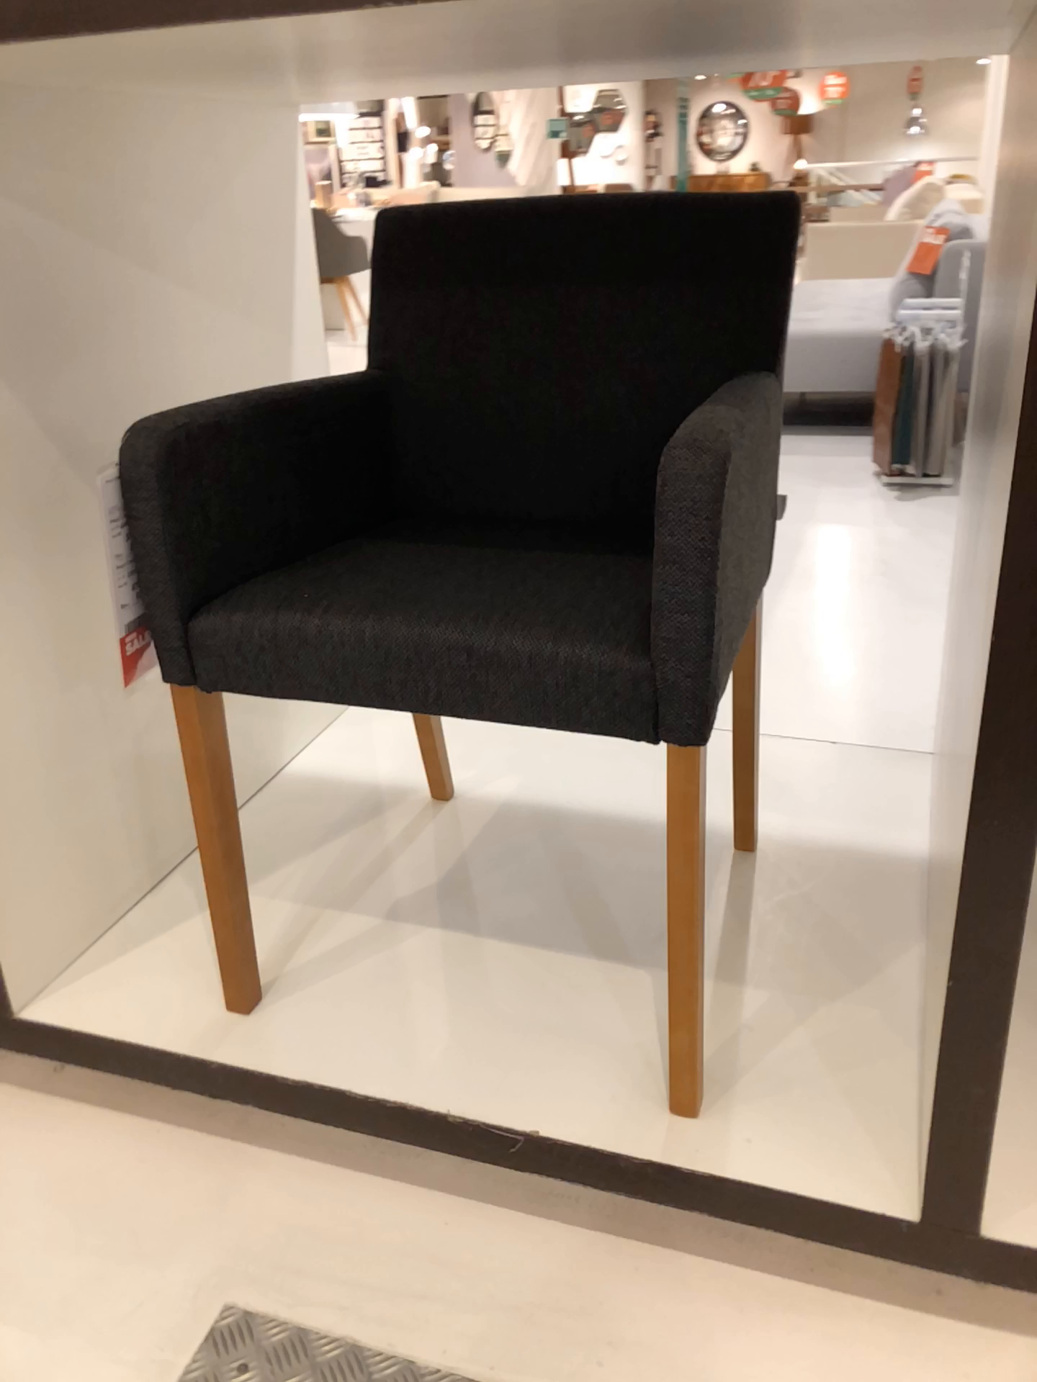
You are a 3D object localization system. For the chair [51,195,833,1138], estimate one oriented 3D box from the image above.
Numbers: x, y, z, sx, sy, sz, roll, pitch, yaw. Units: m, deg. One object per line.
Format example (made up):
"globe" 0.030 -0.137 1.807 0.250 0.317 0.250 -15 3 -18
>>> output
"chair" -0.008 -0.090 1.237 0.560 0.794 0.564 7 26 20
